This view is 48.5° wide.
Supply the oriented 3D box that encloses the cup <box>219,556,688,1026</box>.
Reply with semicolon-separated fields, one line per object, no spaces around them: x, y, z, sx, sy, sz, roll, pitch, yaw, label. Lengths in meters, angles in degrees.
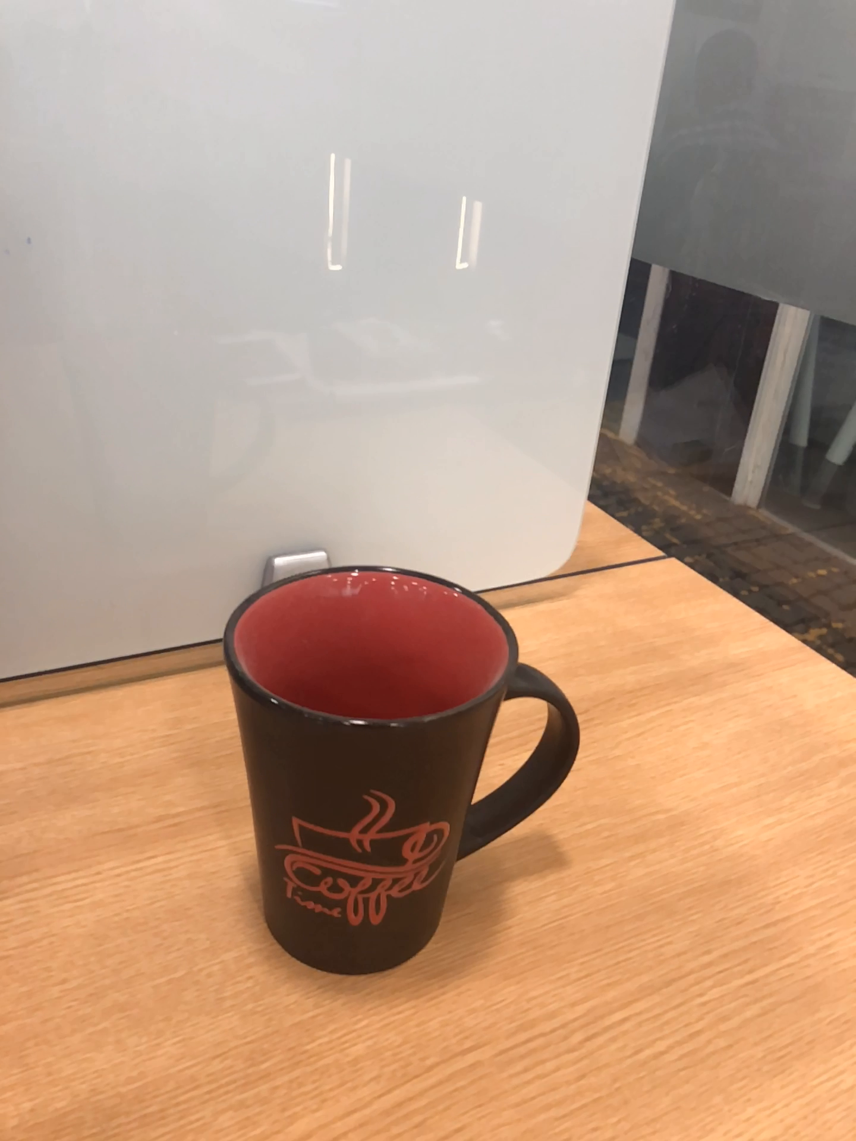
-0.002;0.063;0.307;0.120;0.100;0.090;-3;29;-16;cup
